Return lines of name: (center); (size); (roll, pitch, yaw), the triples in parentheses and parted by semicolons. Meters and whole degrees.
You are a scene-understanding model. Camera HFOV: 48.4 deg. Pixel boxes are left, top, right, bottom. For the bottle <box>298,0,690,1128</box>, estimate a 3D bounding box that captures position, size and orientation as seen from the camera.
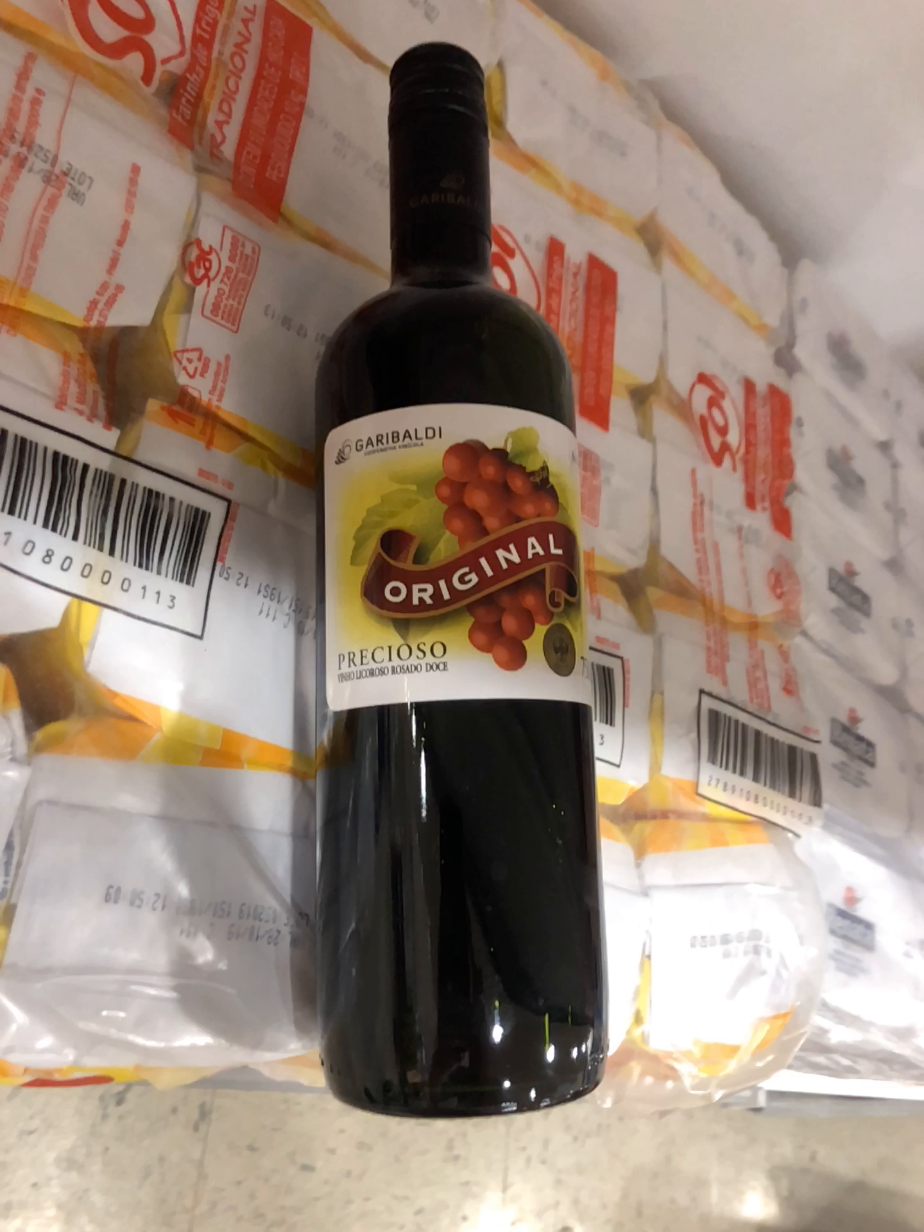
bottle: (-0.002, -0.037, 0.301); (0.080, 0.070, 0.320); (1, 76, -17)
